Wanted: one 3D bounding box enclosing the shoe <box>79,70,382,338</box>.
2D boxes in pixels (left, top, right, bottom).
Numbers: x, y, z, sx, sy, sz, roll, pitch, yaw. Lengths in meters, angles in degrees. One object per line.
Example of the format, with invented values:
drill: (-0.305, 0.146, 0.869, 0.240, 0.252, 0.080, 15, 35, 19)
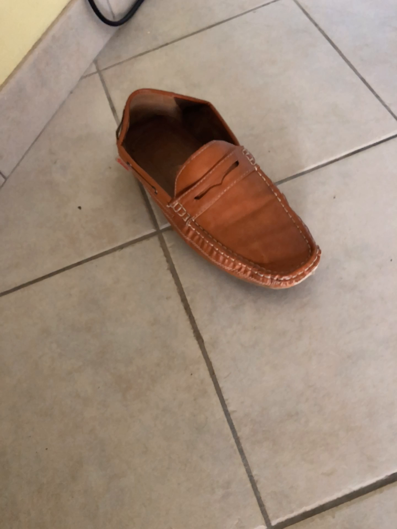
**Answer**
shoe: (0.020, -0.075, 0.449, 0.130, 0.070, 0.280, -42, 64, -12)
